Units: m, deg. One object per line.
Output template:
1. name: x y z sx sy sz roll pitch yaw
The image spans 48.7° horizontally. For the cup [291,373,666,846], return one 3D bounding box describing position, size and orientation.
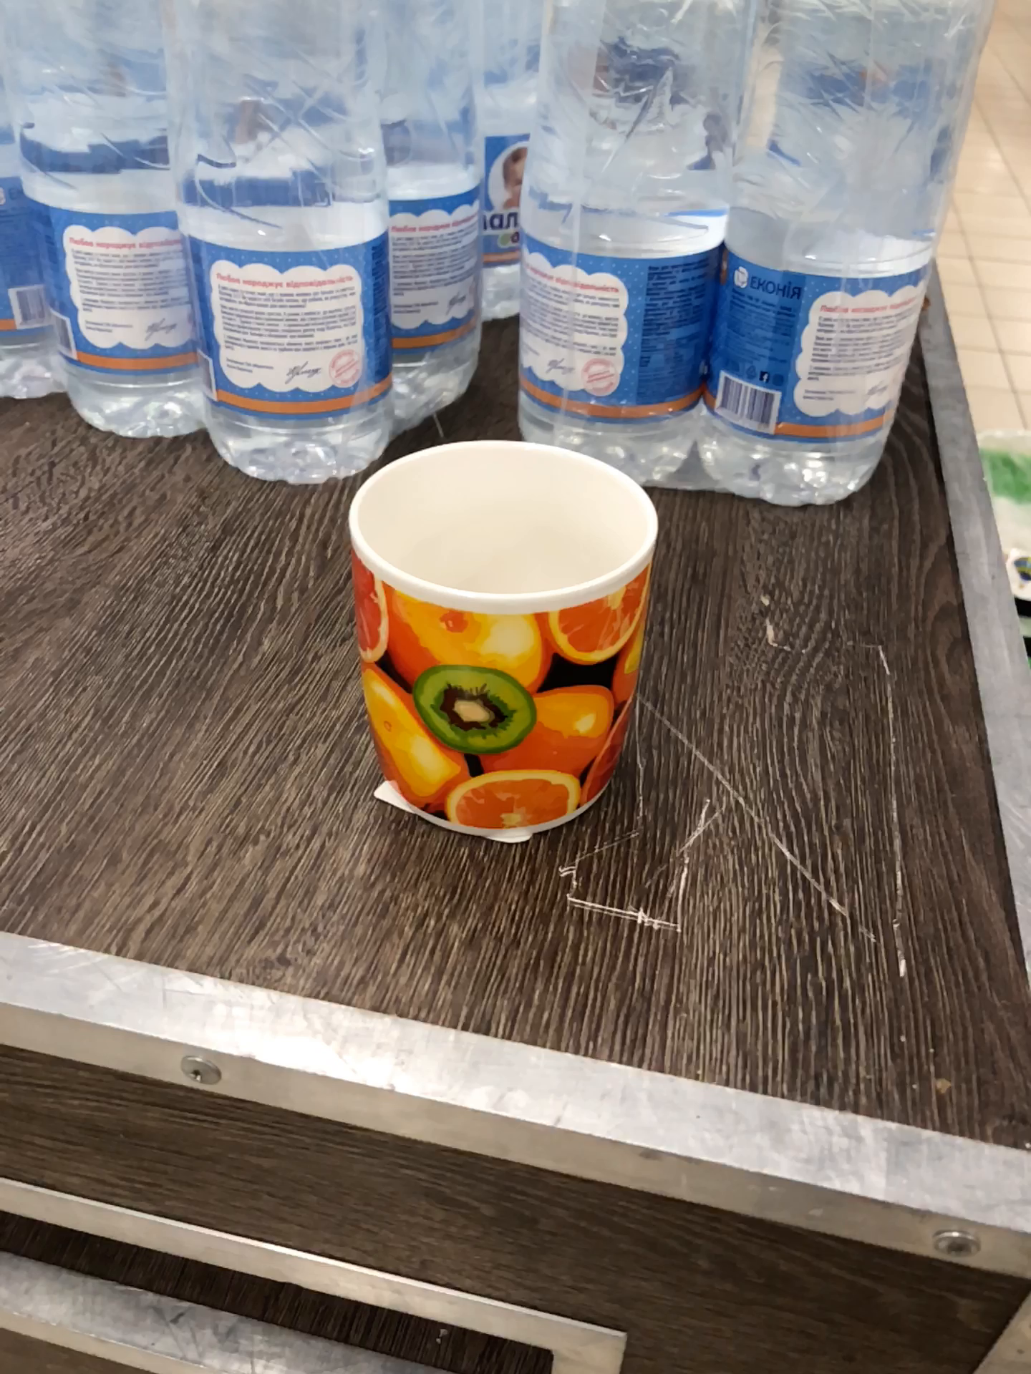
1. cup: -0.009 -0.029 0.351 0.091 0.085 0.127 3 38 0
